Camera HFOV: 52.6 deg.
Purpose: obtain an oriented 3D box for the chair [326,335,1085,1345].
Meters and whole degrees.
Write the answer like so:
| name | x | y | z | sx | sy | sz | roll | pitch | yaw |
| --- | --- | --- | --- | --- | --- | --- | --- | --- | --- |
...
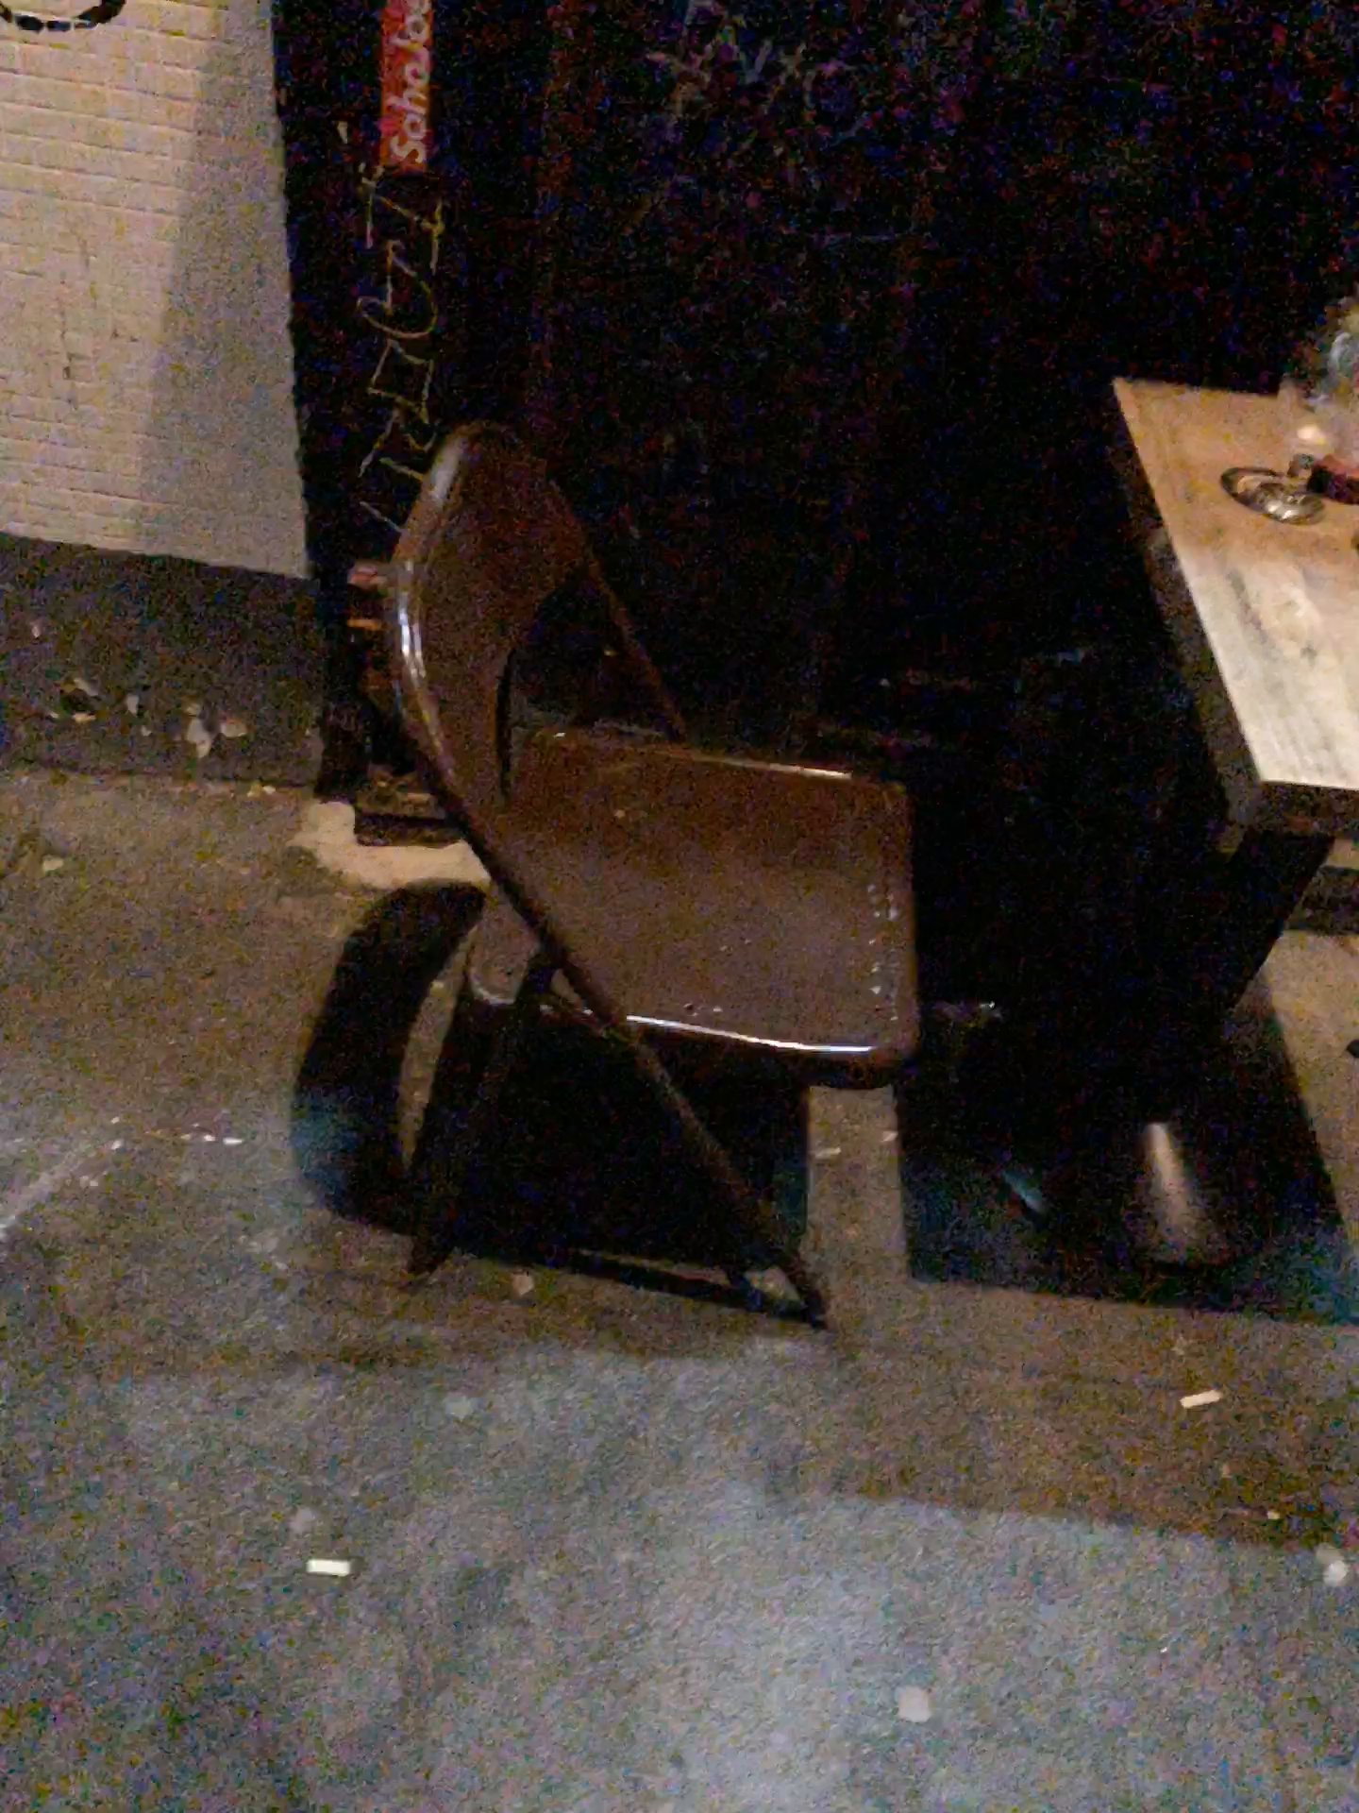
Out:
| name | x | y | z | sx | sy | sz | roll | pitch | yaw |
| --- | --- | --- | --- | --- | --- | --- | --- | --- | --- |
| chair | -0.010 | -0.040 | 1.281 | 0.480 | 0.723 | 0.495 | 9 | 41 | -1 |
